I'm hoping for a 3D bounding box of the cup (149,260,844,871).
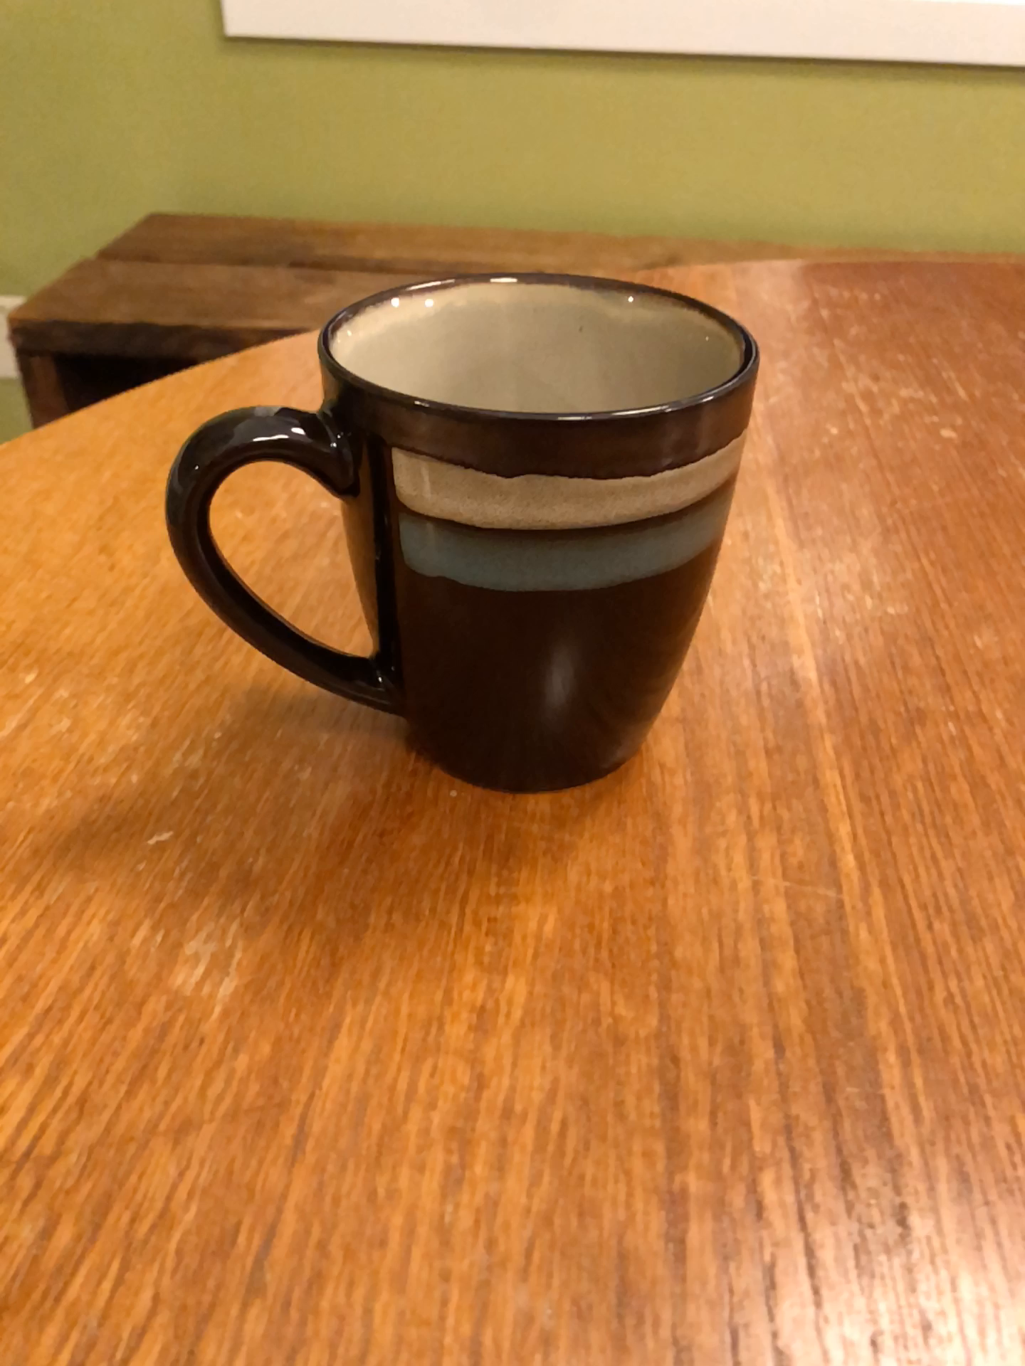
[{"bbox_3d":[-0.011,-0.034,0.266,0.125,0.093,0.099,-7,36,-12],"label":"cup"}]
